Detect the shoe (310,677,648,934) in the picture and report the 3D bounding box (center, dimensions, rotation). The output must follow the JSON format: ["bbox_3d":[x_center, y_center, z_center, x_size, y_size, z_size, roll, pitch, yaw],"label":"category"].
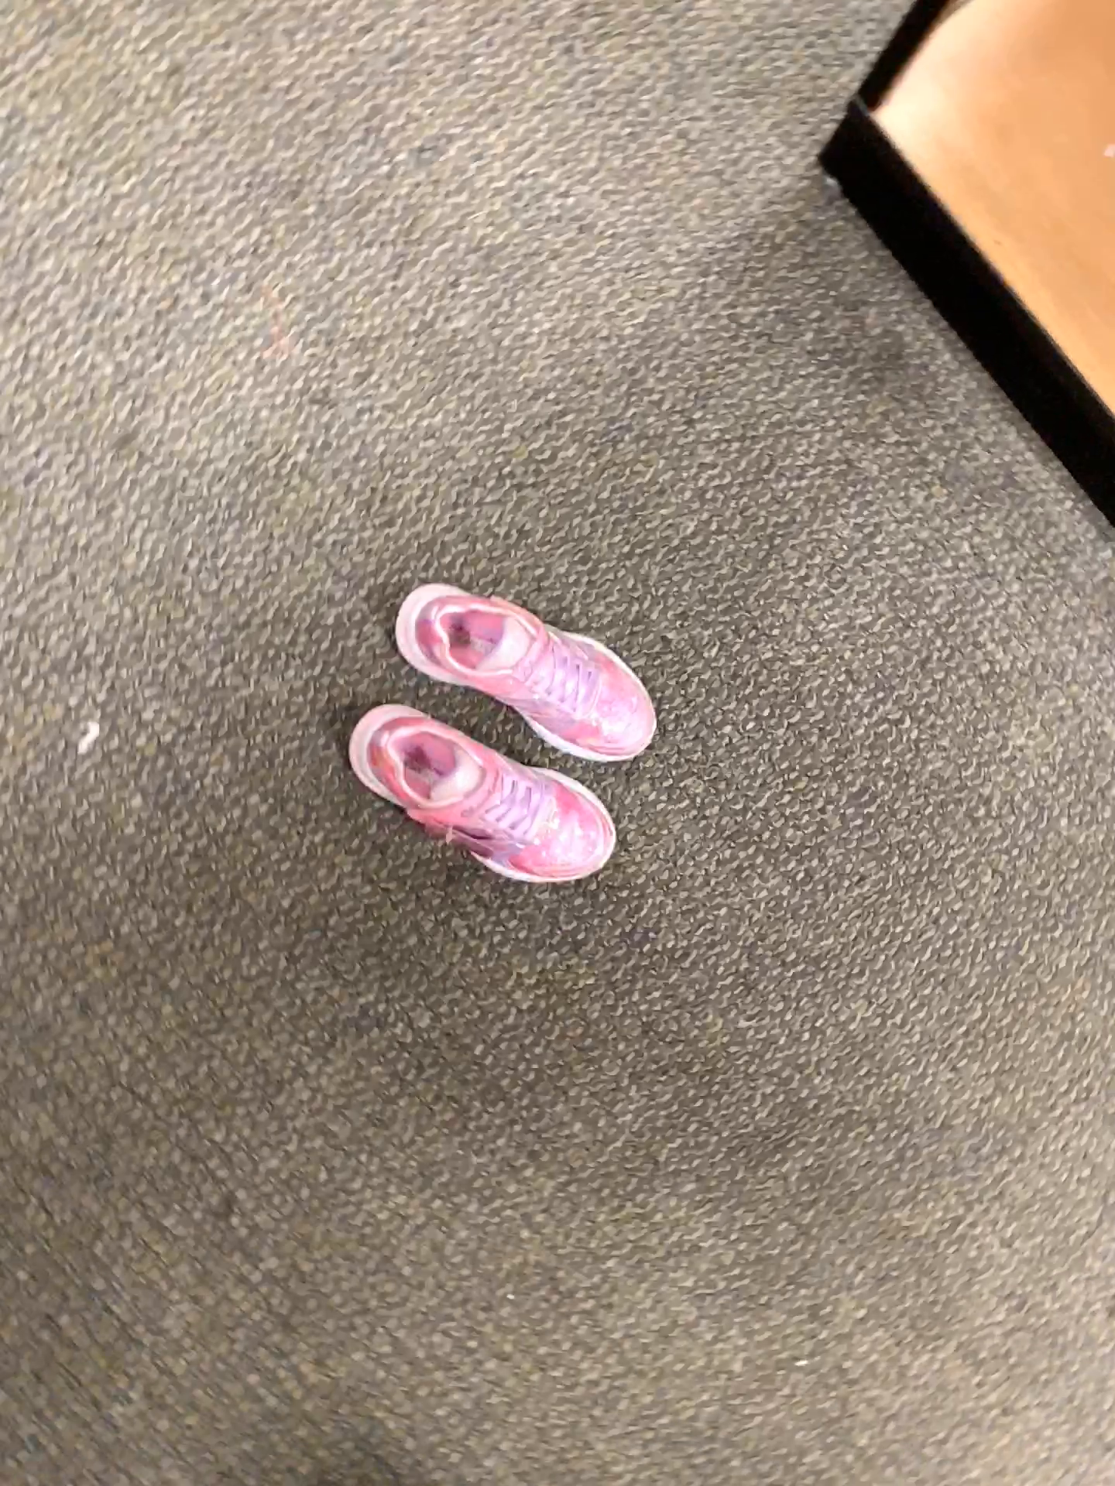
[{"bbox_3d":[-0.056,0.044,0.786,0.200,0.110,0.086,27,85,-6],"label":"shoe"}]

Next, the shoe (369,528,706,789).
[{"bbox_3d":[-0.018,-0.051,0.780,0.200,0.110,0.086,27,85,-6],"label":"shoe"}]
